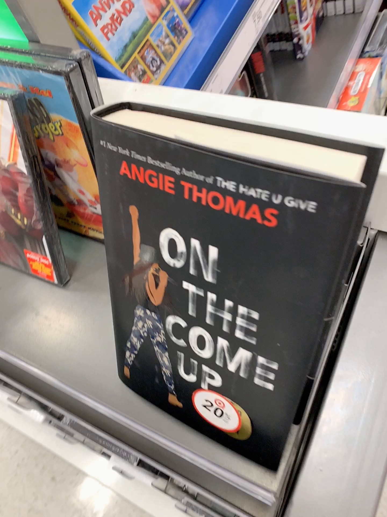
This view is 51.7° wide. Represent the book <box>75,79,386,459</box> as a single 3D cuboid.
[{"bbox_3d":[0.012,0.014,0.267,0.149,0.222,0.056,20,39,23],"label":"book"}]
